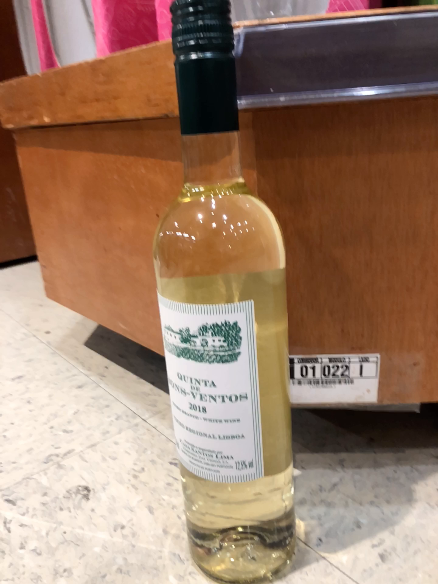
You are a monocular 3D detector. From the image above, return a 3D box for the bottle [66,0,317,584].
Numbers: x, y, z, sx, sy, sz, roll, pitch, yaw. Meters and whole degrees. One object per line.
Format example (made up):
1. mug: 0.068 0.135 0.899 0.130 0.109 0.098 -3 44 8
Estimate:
1. bottle: 0.001 0.012 0.269 0.080 0.308 0.080 -4 18 1
